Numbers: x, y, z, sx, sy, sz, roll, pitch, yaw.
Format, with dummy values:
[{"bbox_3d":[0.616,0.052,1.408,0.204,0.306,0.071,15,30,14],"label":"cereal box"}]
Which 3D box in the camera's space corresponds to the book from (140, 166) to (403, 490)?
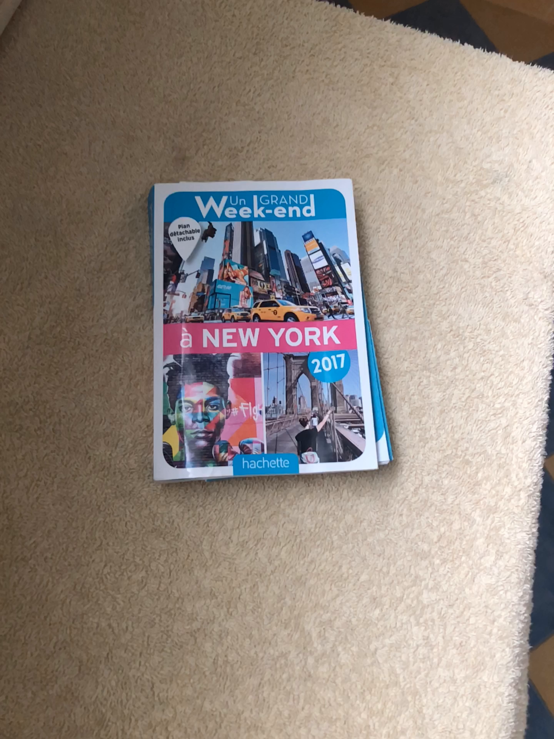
[{"bbox_3d":[-0.007,-0.025,0.310,0.120,0.020,0.160,-3,74,-2],"label":"book"}]
